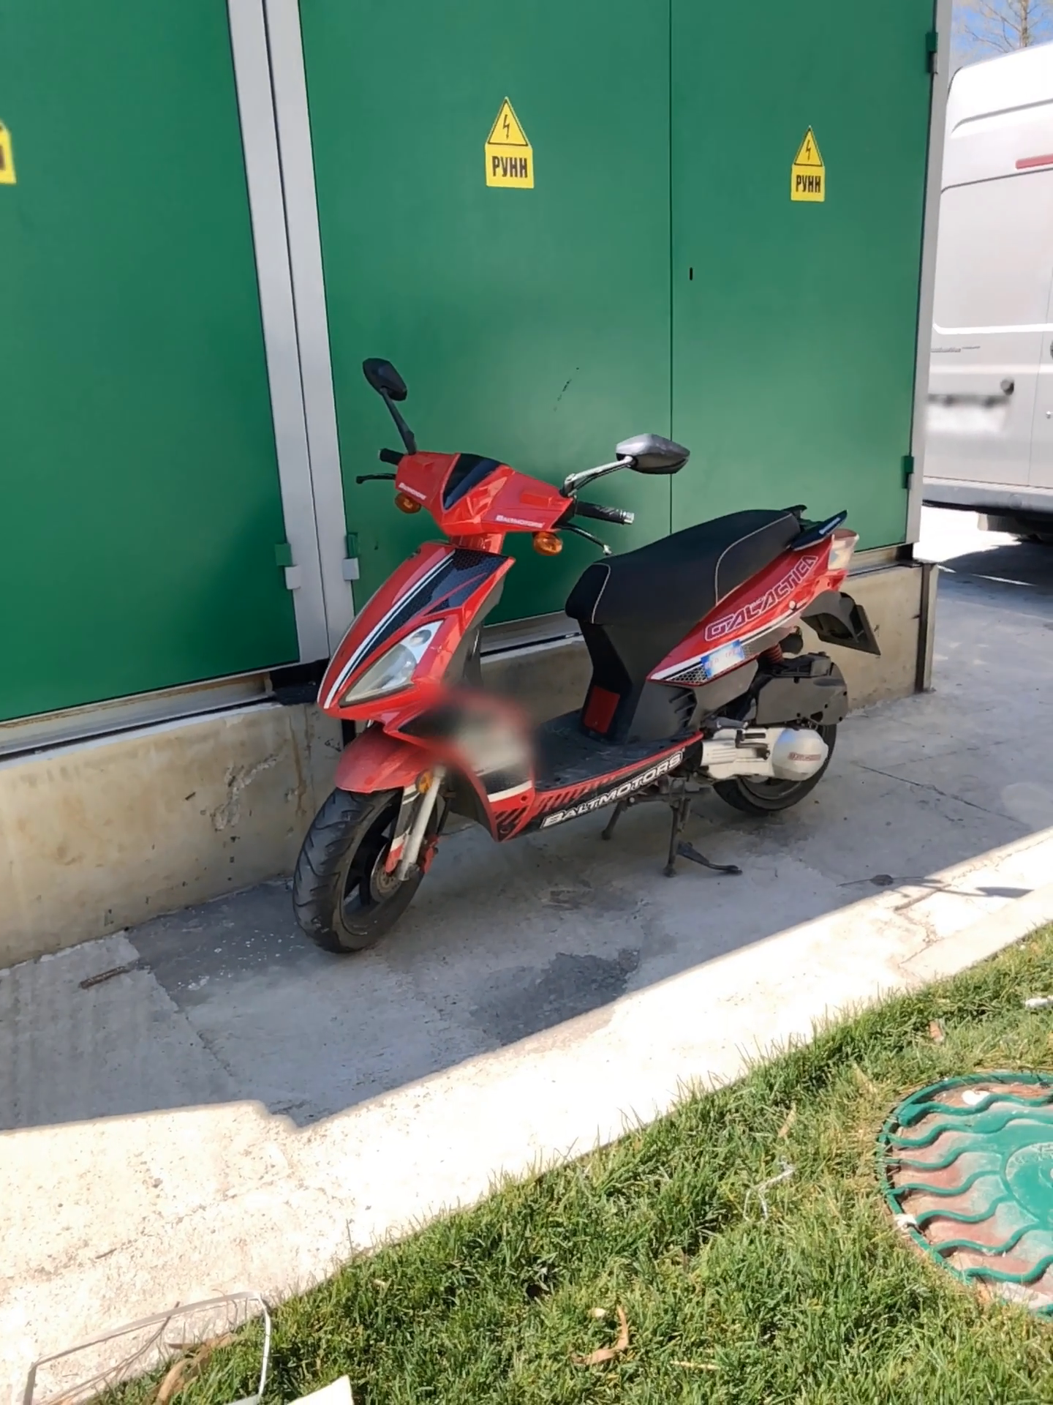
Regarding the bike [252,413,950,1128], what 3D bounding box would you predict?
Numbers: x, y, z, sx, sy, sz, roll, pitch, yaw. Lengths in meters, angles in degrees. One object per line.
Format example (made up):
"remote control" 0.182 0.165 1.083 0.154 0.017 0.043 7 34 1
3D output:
"bike" 0.236 -0.016 2.605 1.592 1.086 0.590 -14 20 -31
